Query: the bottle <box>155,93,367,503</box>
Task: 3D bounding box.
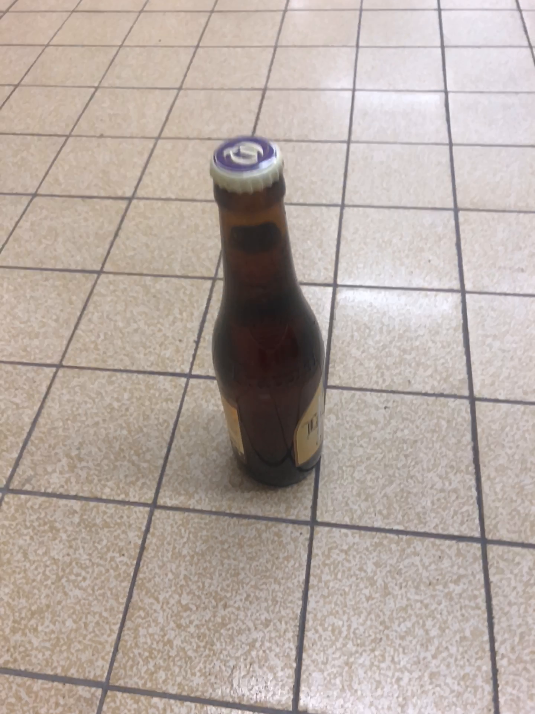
[{"bbox_3d":[0.001,-0.008,0.305,0.070,0.219,0.070,-2,52,3],"label":"bottle"}]
